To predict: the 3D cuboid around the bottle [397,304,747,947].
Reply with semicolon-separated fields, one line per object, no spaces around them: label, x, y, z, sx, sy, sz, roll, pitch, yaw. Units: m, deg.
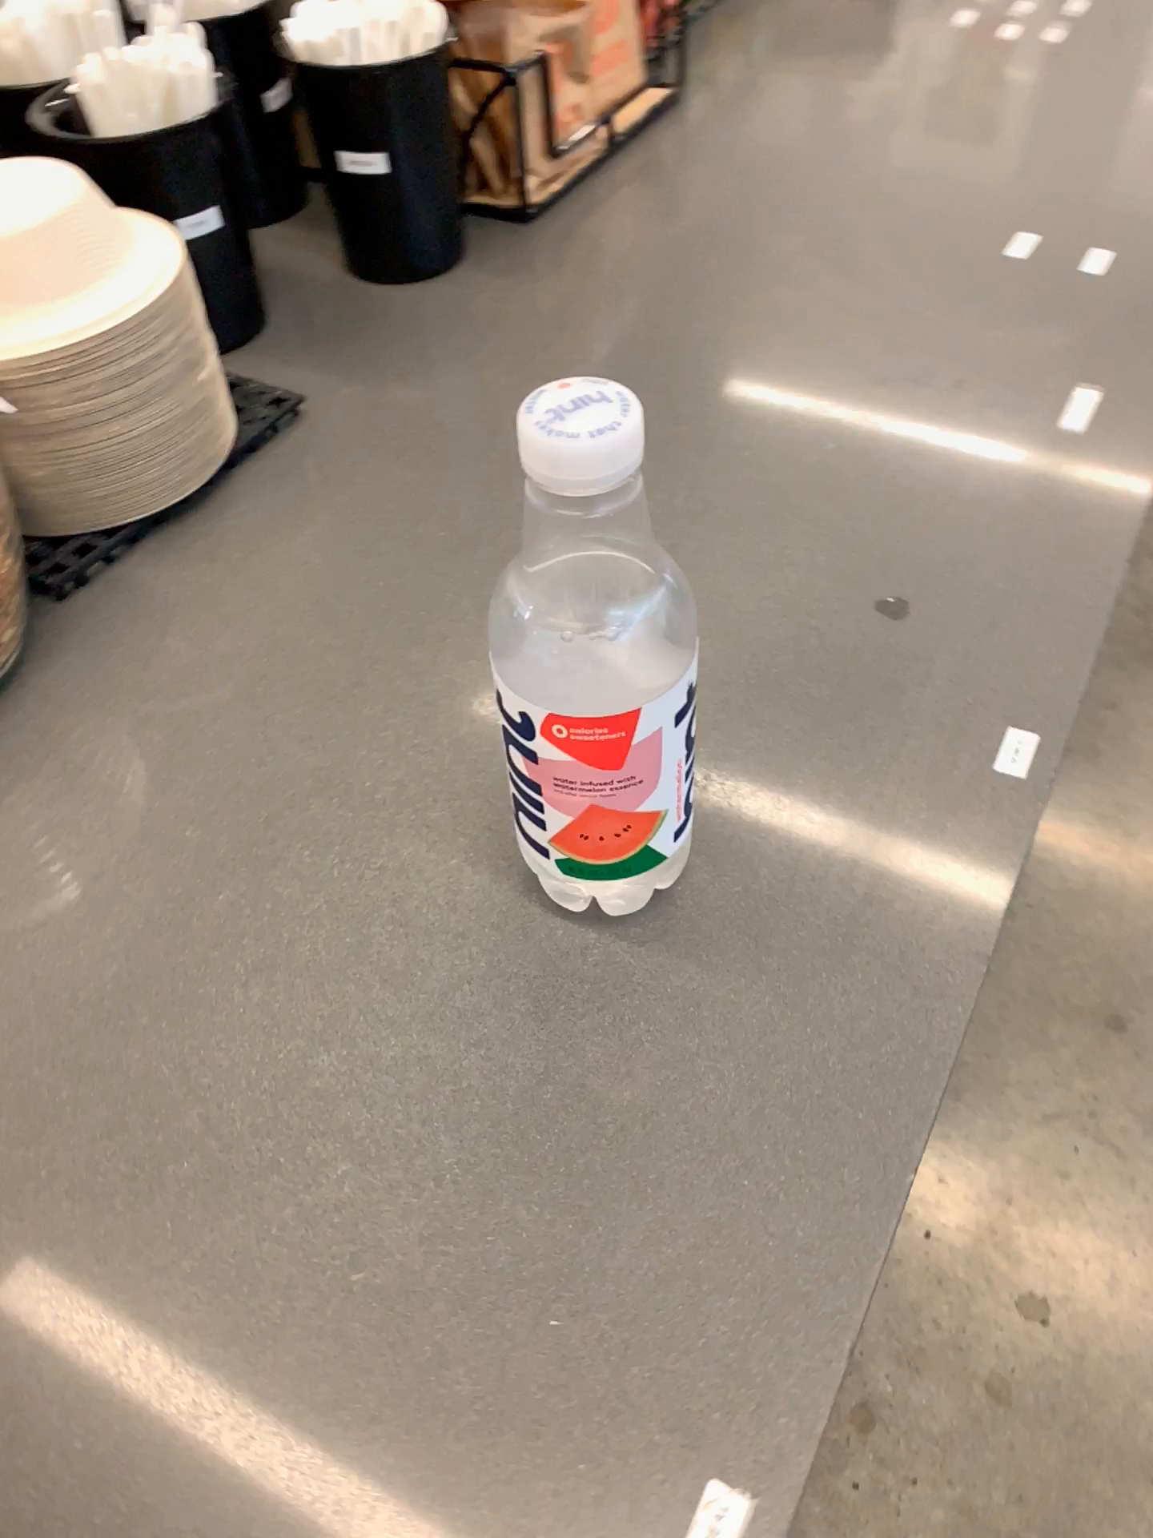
bottle;0.006;-0.035;0.388;0.070;0.199;0.070;-2;49;2
